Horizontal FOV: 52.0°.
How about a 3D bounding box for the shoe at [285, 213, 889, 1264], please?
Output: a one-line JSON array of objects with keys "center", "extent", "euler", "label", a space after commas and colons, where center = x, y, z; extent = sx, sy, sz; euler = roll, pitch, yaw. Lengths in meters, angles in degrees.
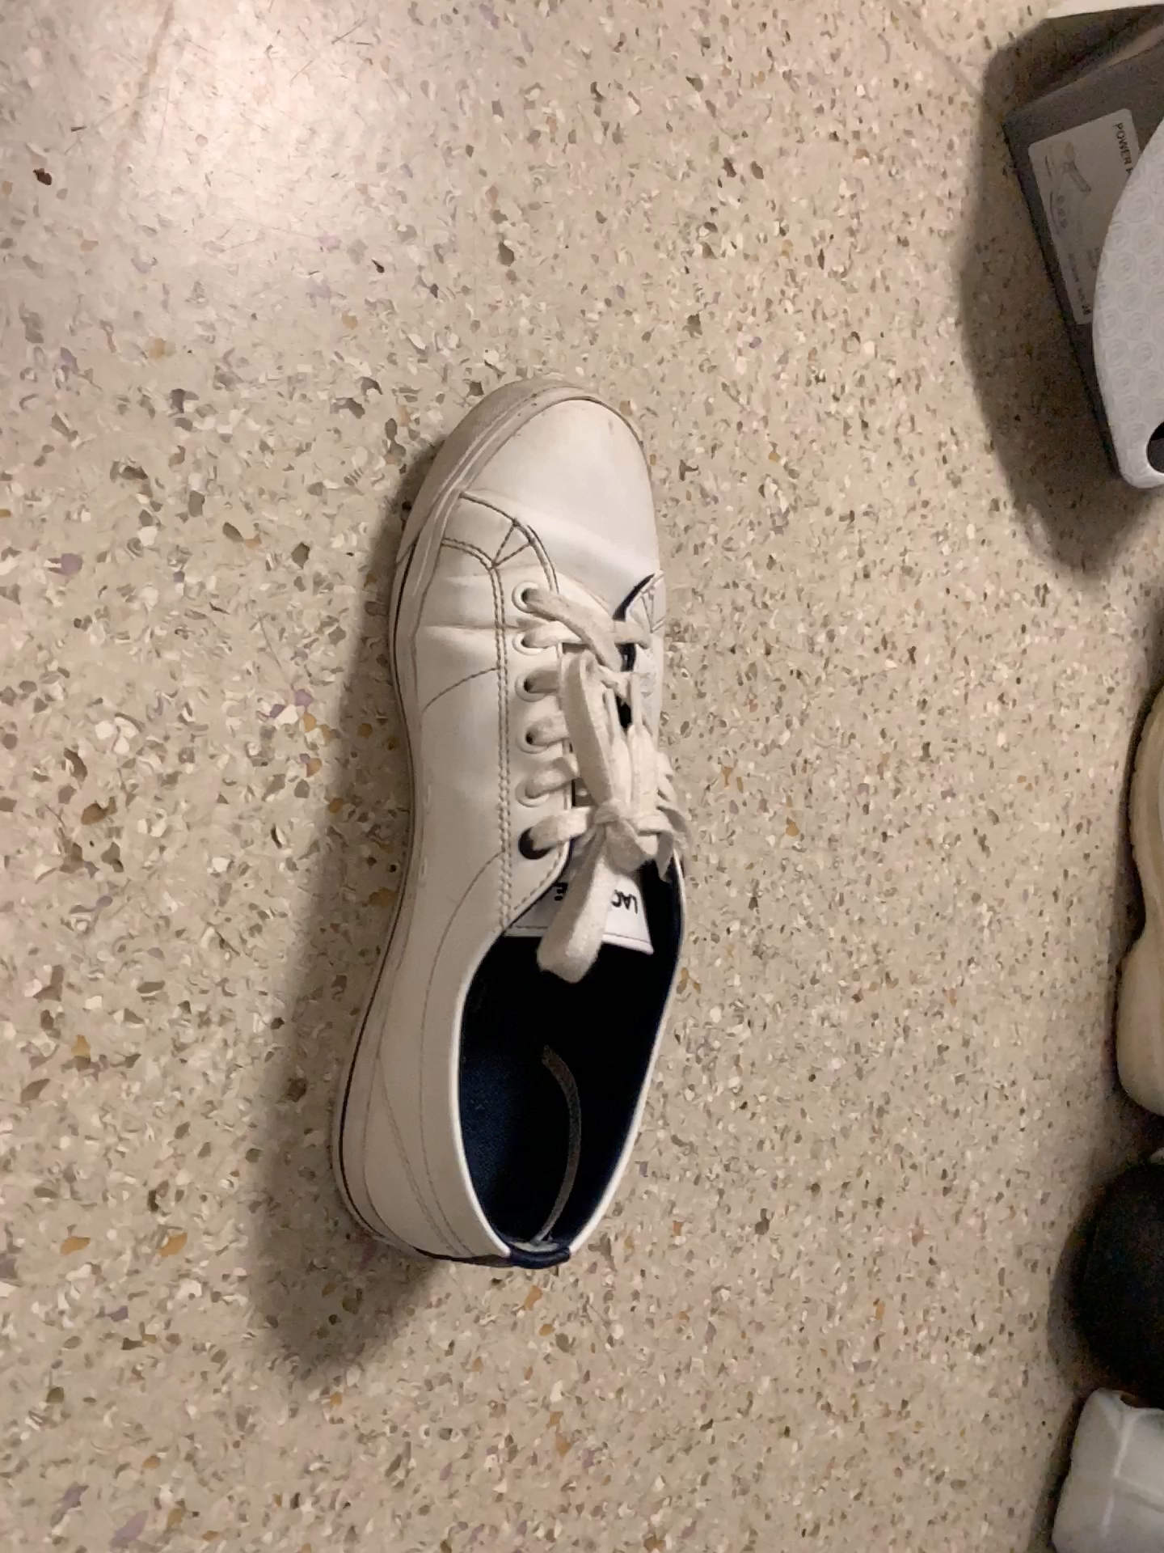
[{"center": [0.005, -0.006, 0.343], "extent": [0.100, 0.090, 0.250], "euler": [16, 80, -39], "label": "shoe"}]
